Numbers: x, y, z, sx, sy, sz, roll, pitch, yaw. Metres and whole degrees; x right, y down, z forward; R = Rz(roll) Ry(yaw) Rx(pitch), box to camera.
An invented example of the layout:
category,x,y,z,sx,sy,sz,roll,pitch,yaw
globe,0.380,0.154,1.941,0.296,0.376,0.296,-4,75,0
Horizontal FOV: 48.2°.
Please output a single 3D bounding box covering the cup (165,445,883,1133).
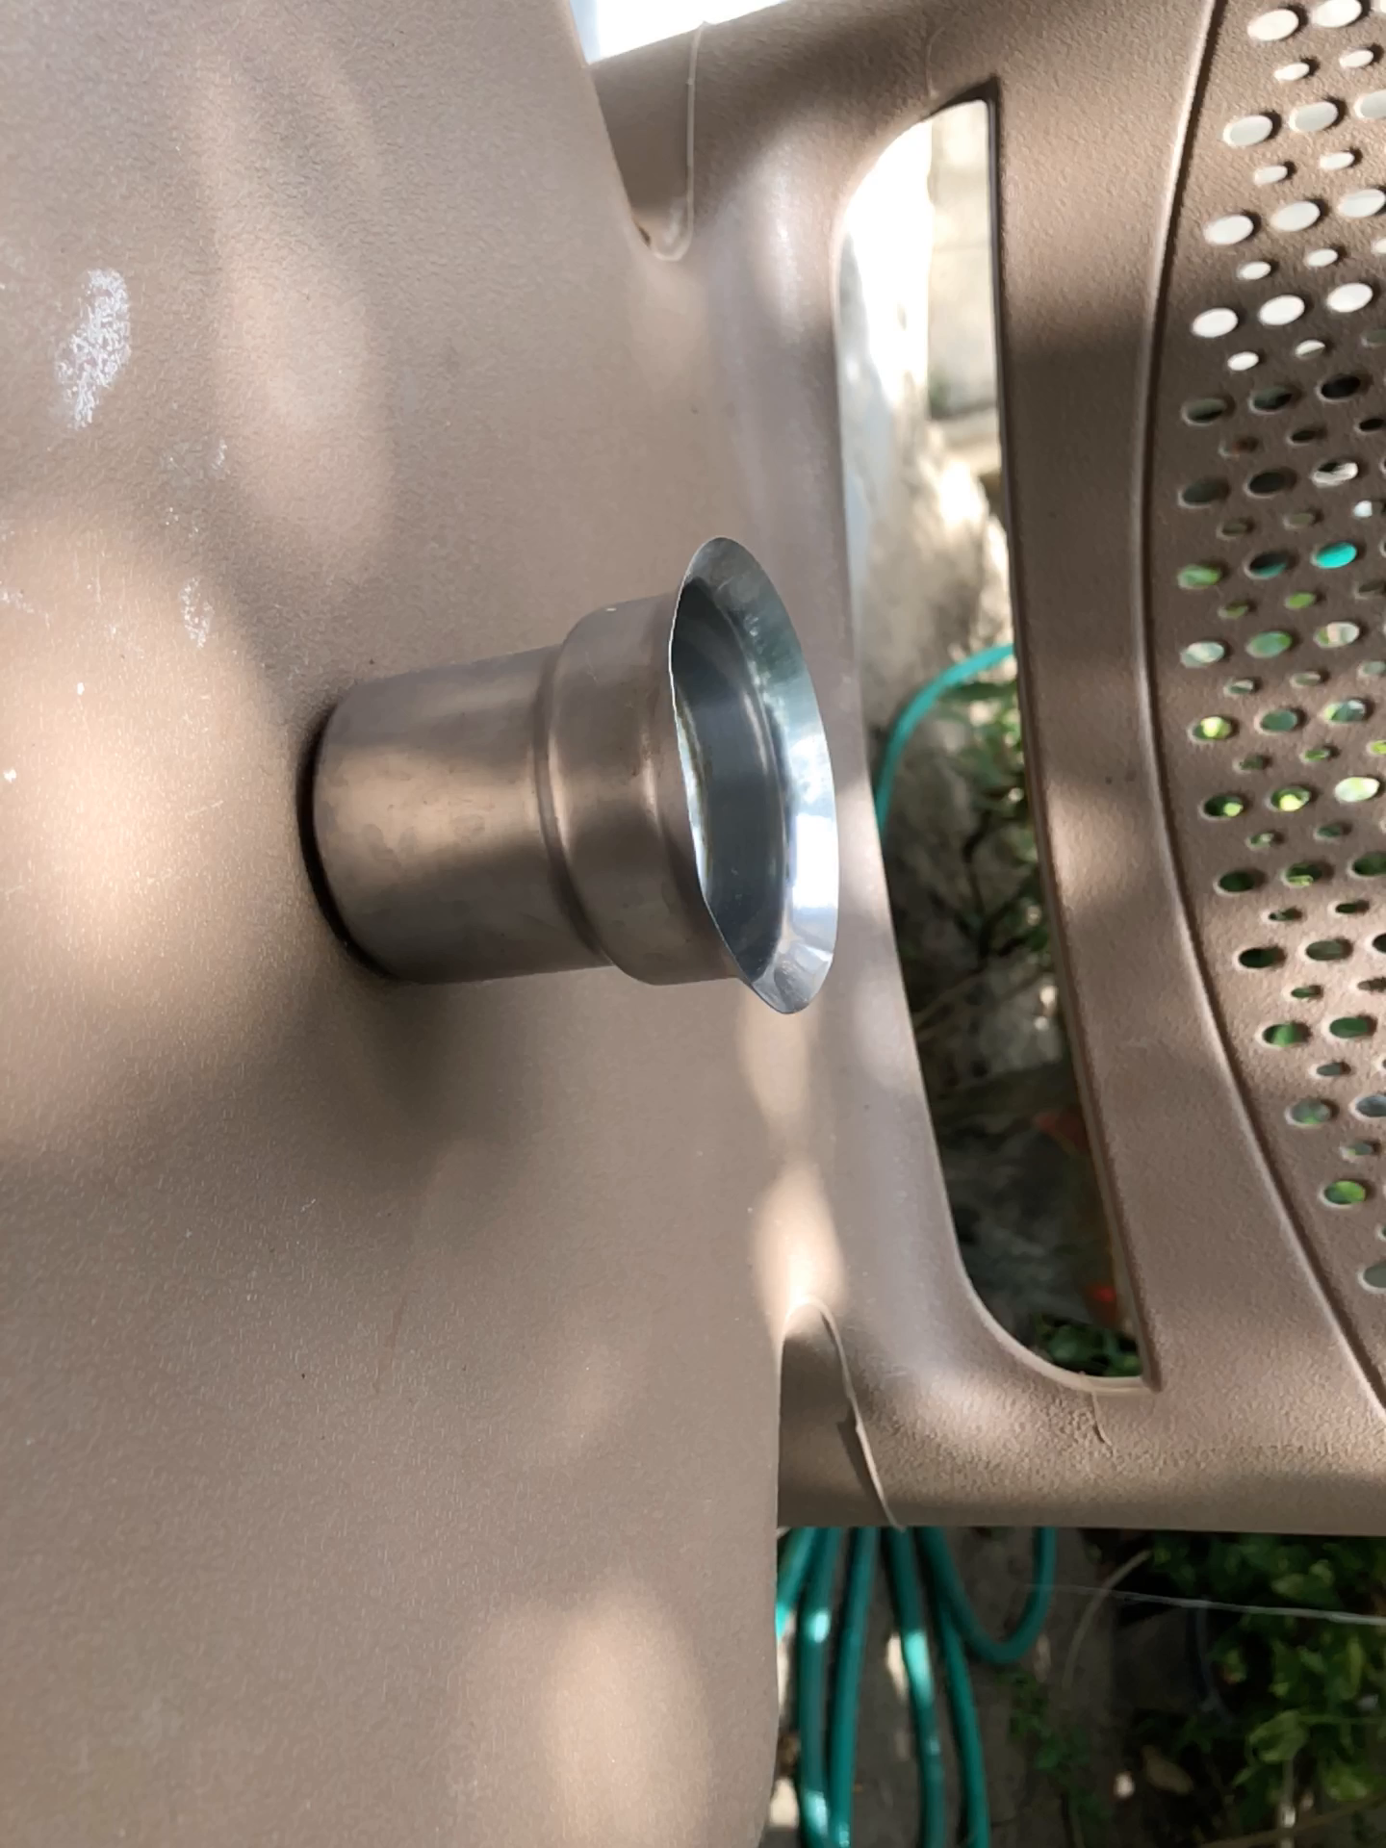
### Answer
category,x,y,z,sx,sy,sz,roll,pitch,yaw
cup,-0.019,-0.017,0.230,0.060,0.069,0.070,57,36,-42
